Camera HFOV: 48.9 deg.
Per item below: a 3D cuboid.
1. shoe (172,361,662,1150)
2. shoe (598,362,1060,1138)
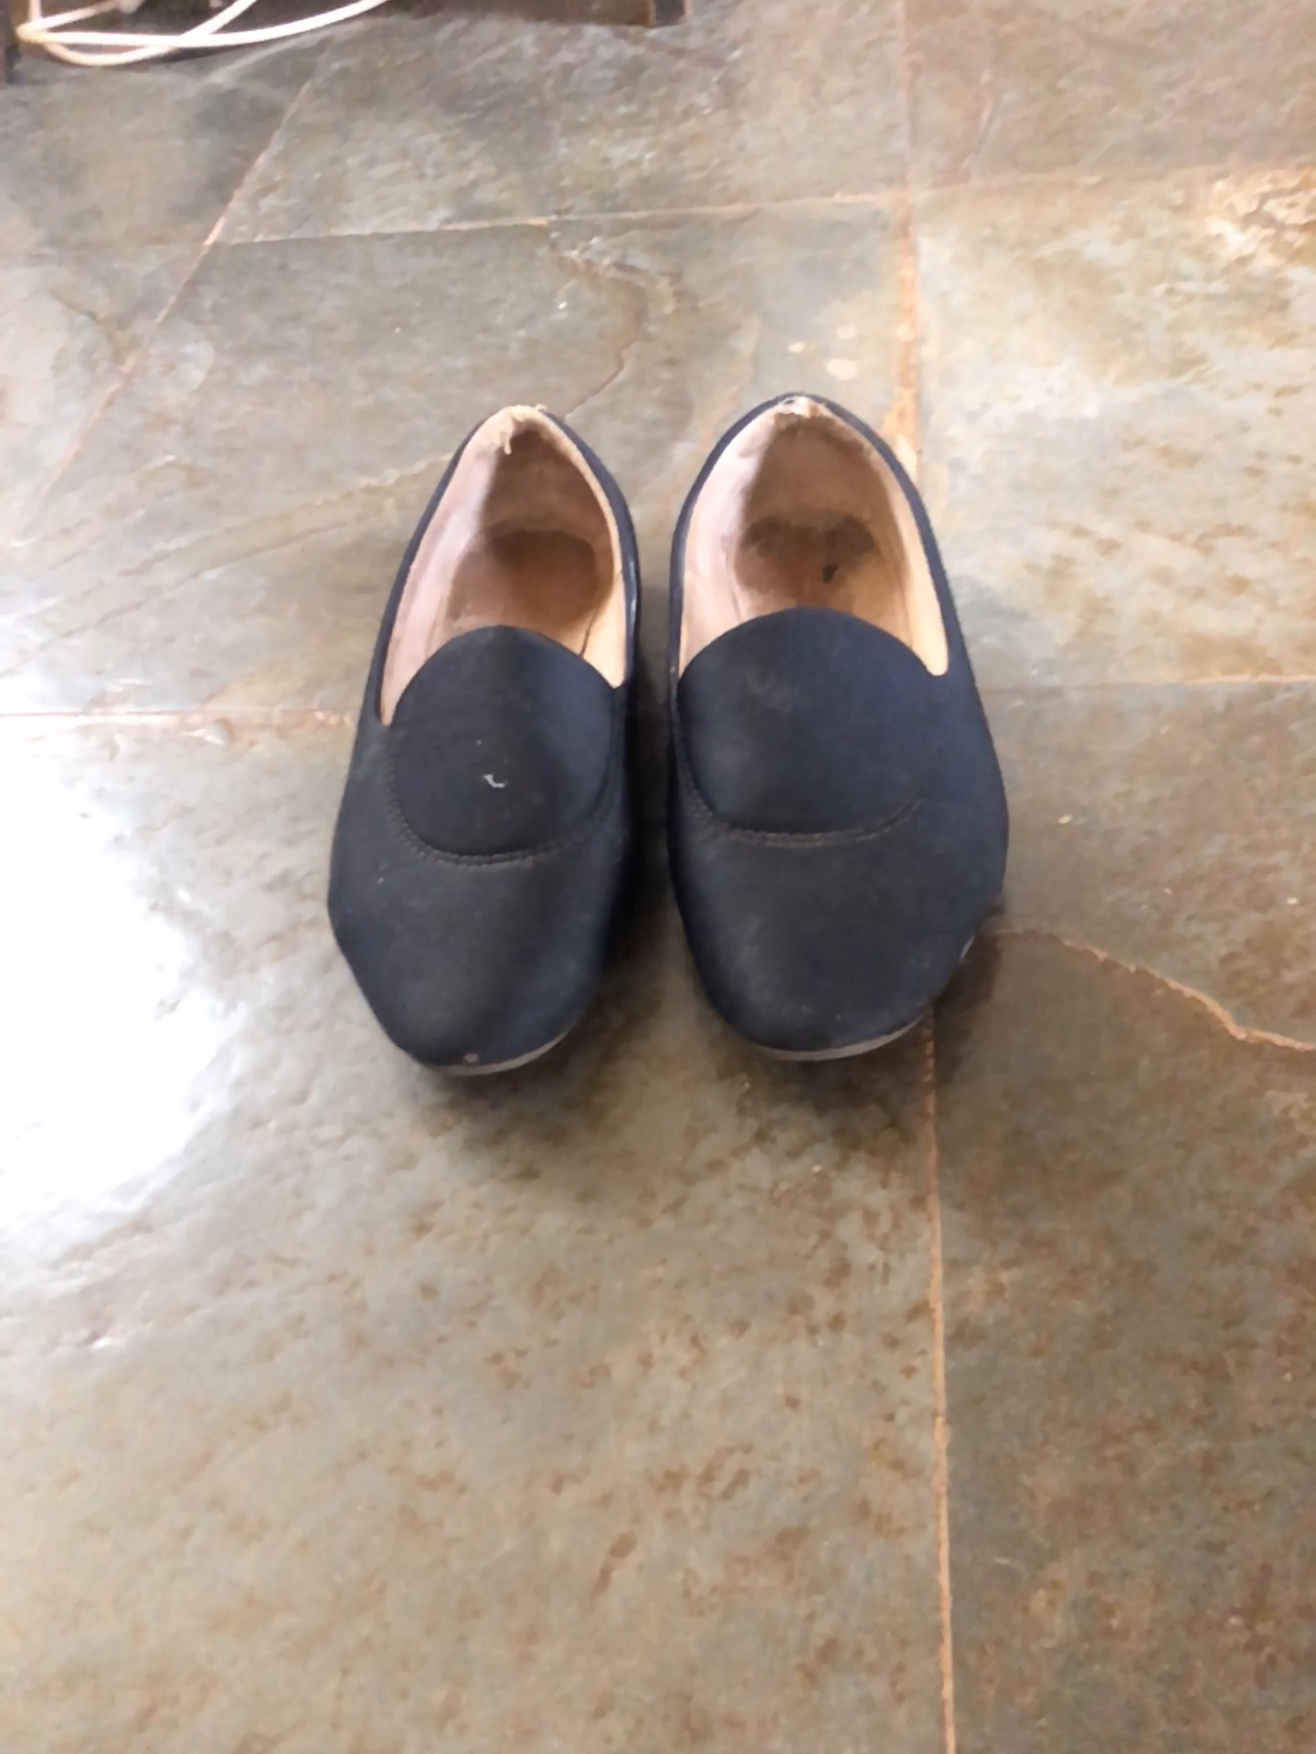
[{"bbox_3d":[-0.060,-0.055,0.467,0.110,0.079,0.272,-5,48,5],"label":"shoe"},{"bbox_3d":[0.054,-0.055,0.466,0.110,0.079,0.272,-2,48,8],"label":"shoe"}]
